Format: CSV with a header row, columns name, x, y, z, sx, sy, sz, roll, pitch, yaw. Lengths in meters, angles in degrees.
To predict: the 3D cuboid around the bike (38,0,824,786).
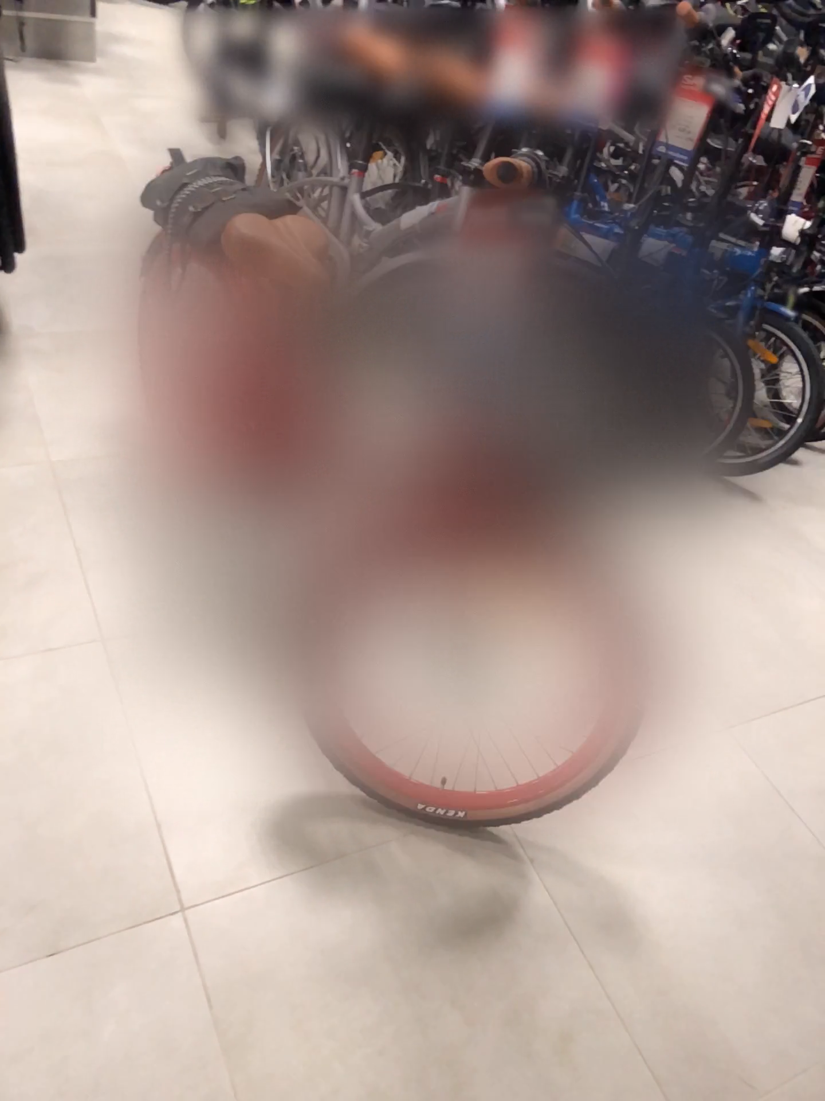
name,x,y,z,sx,sy,sz,roll,pitch,yaw
bike,-0.071,-0.448,1.770,0.518,1.111,1.495,-25,50,-39
